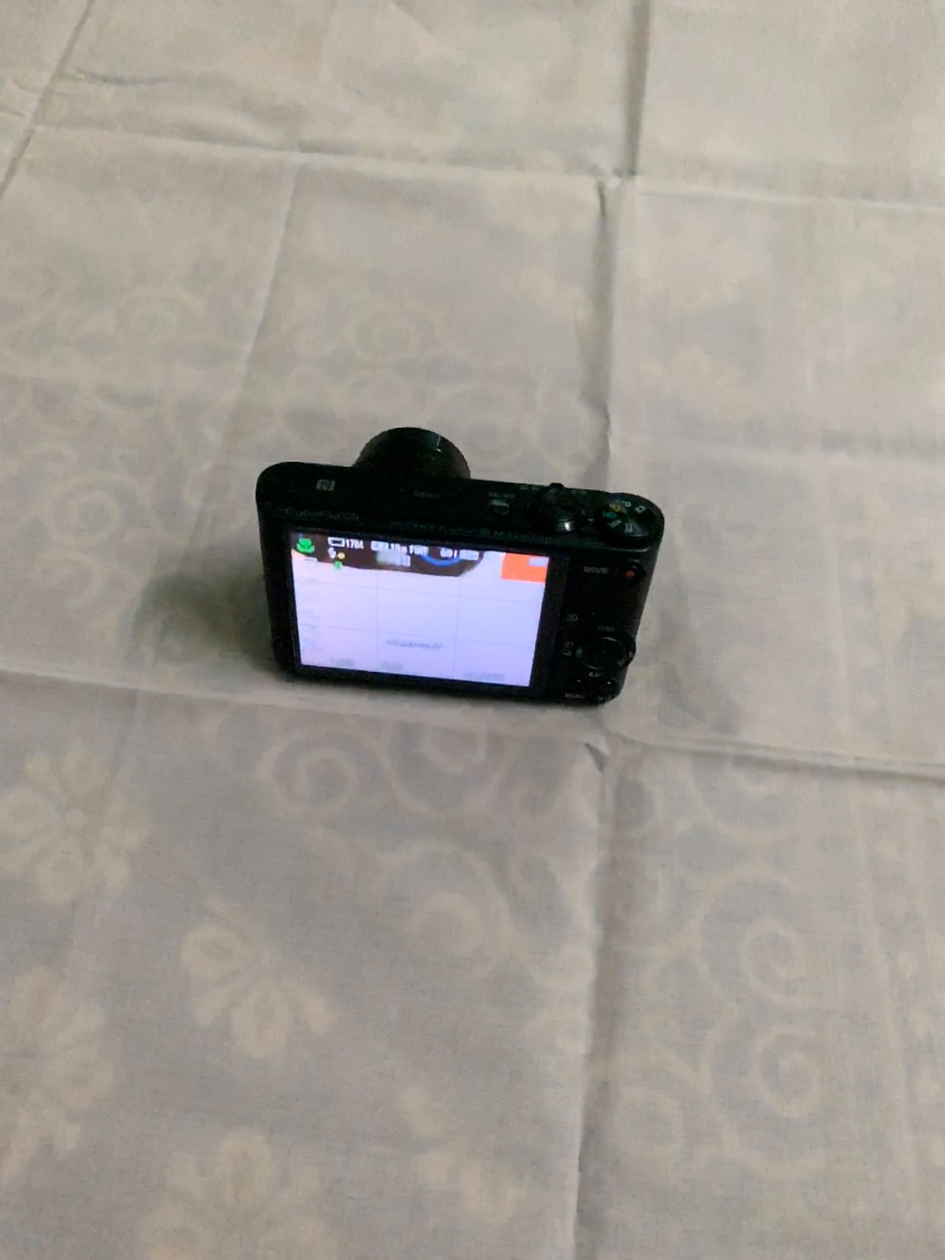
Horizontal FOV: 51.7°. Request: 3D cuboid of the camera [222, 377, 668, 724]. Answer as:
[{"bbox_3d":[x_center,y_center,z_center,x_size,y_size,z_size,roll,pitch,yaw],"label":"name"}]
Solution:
[{"bbox_3d":[-0.006,-0.020,0.260,0.100,0.060,0.058,5,51,0],"label":"camera"}]
